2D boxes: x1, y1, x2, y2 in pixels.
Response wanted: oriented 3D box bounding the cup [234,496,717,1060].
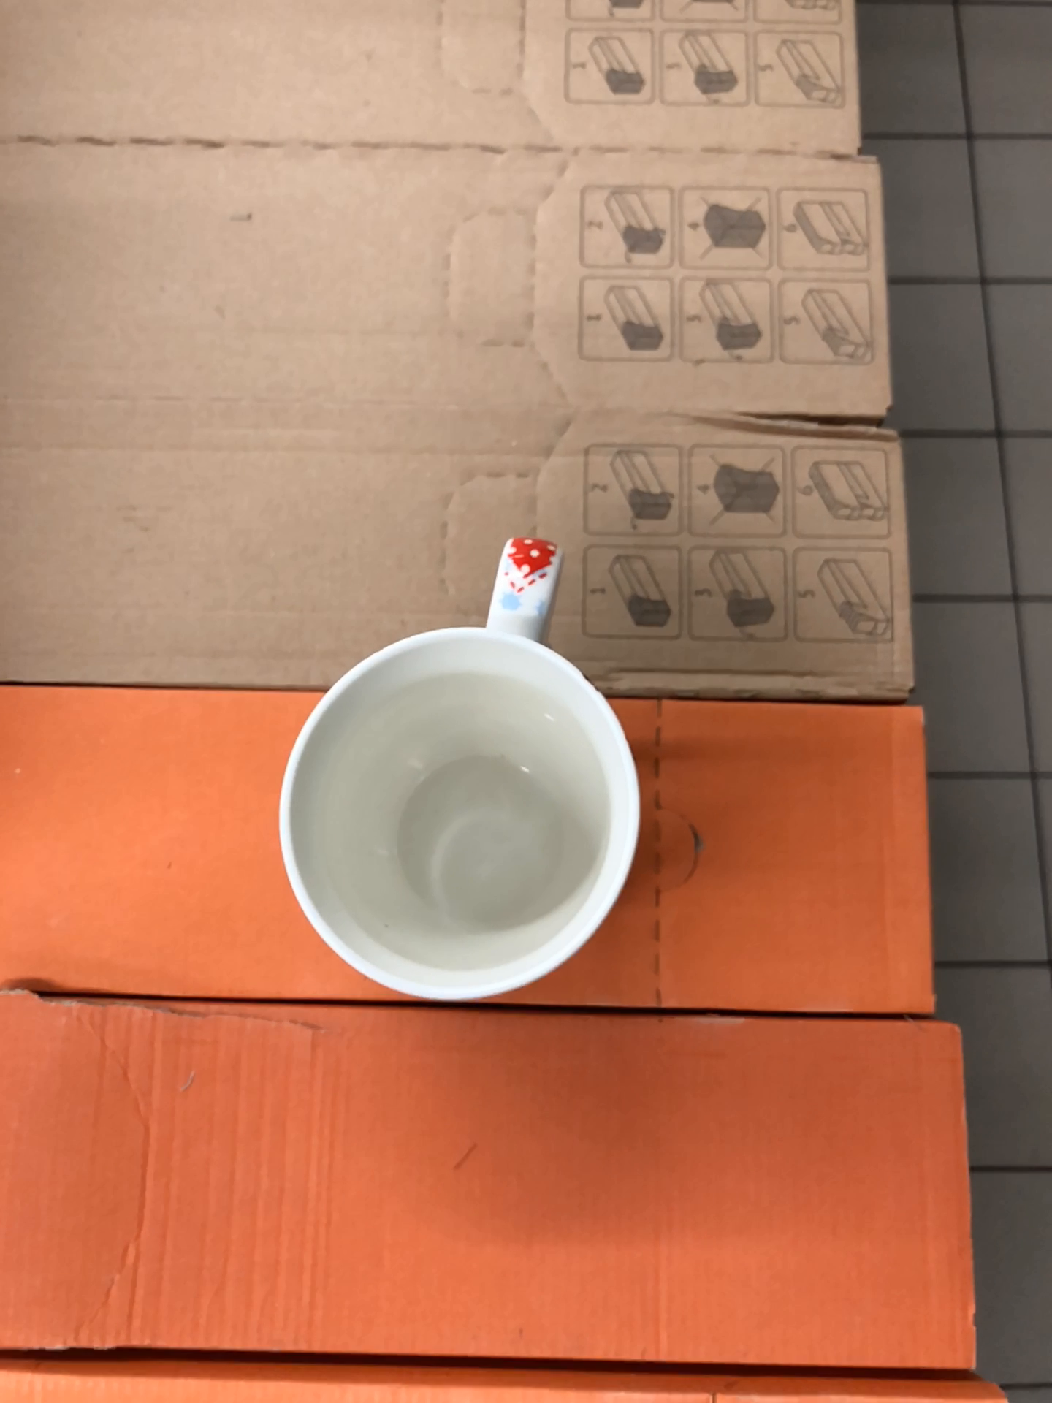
[{"bbox_3d":[-0.009,0.024,0.308,0.086,0.093,0.113,12,77,3],"label":"cup"}]
